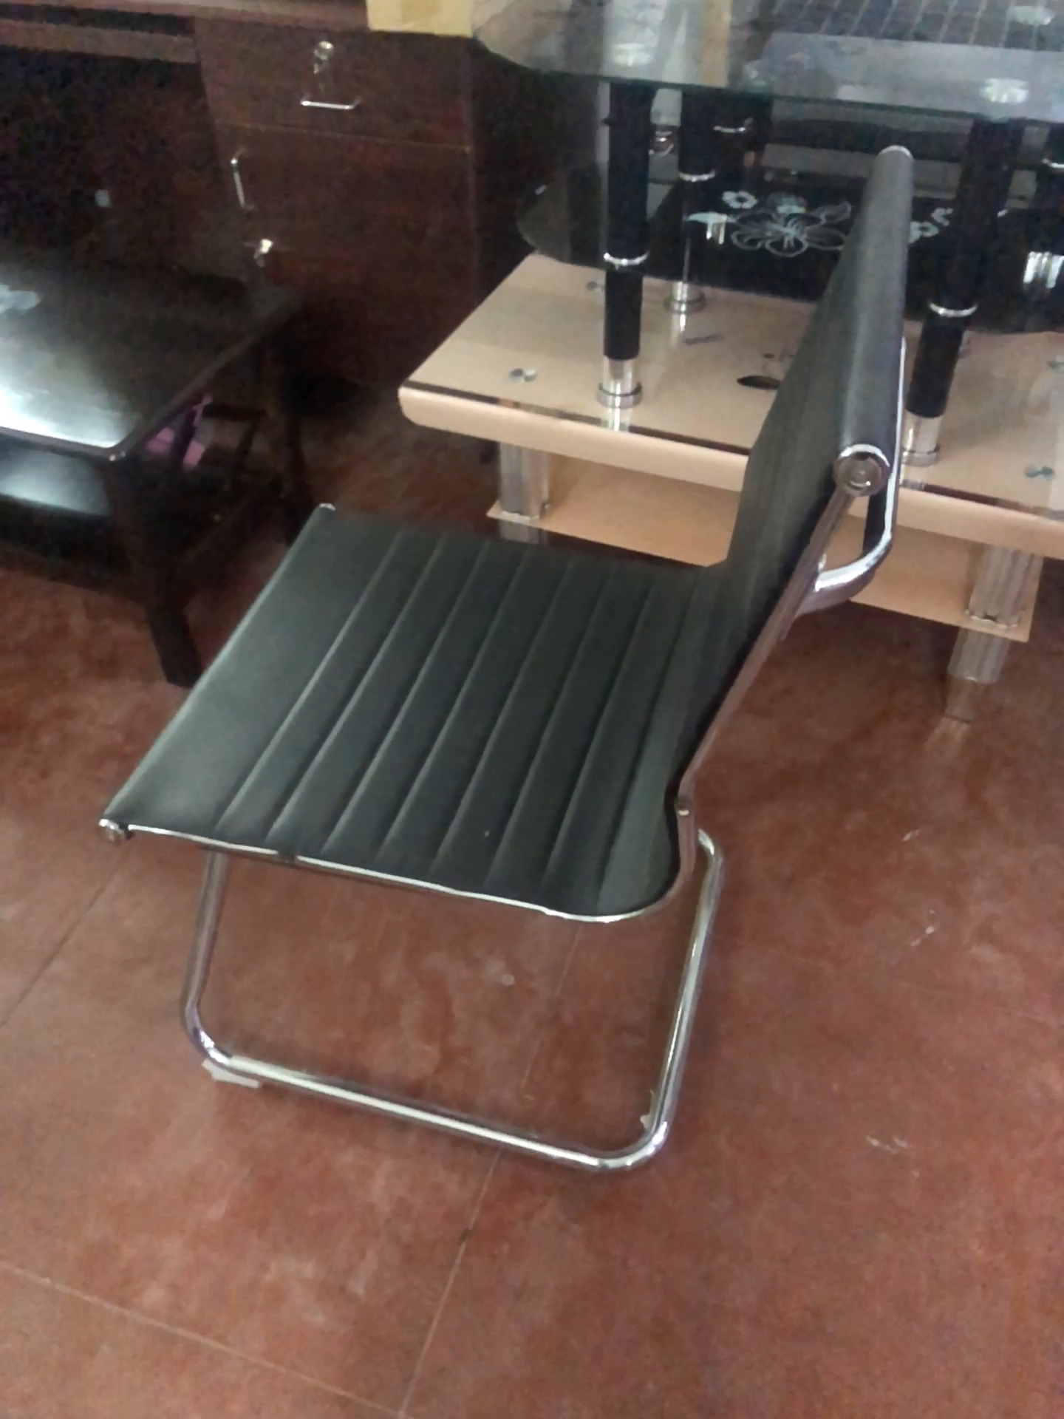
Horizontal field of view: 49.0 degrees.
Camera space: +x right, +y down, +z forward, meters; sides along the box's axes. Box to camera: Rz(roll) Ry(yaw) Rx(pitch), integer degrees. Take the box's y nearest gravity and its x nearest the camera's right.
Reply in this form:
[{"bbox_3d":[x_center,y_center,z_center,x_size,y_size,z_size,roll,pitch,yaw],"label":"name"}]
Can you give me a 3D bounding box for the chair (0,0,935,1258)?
[{"bbox_3d":[-0.094,-0.067,1.051,0.680,0.856,0.593,11,45,12],"label":"chair"}]
